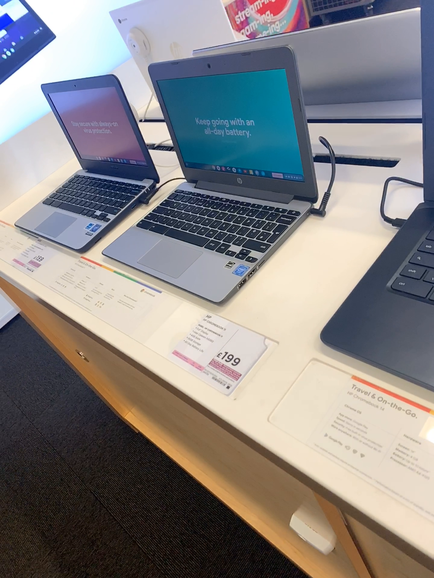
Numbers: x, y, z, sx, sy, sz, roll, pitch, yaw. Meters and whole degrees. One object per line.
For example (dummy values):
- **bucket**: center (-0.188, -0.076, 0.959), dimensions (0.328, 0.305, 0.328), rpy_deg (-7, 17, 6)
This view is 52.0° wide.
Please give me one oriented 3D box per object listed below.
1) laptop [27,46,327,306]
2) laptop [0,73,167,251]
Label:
- **laptop**: center (-0.053, -0.159, 0.593), dimensions (0.279, 0.185, 0.228), rpy_deg (21, 59, 44)
- **laptop**: center (-0.292, -0.242, 0.825), dimensions (0.288, 0.180, 0.222), rpy_deg (20, 60, 43)
